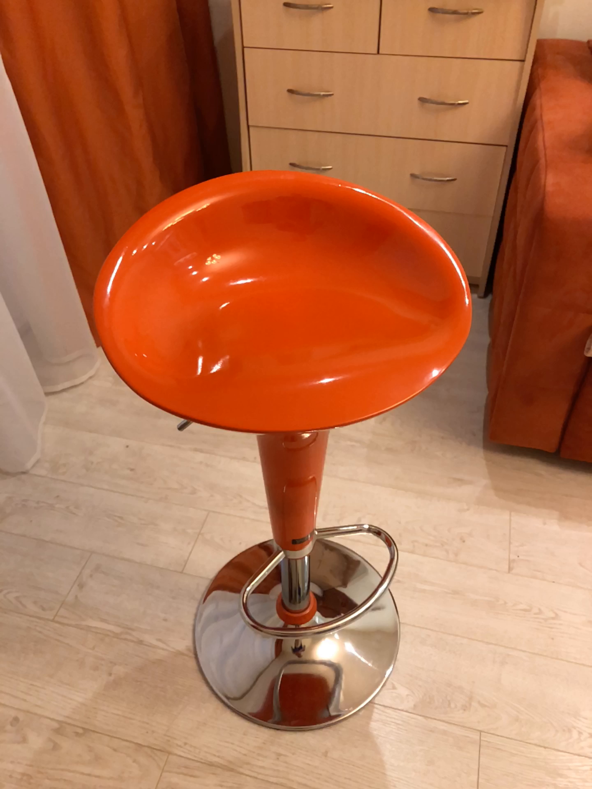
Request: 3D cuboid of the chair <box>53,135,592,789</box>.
[{"bbox_3d":[0.008,0.123,0.870,0.401,0.735,0.392,-18,44,-17],"label":"chair"}]
